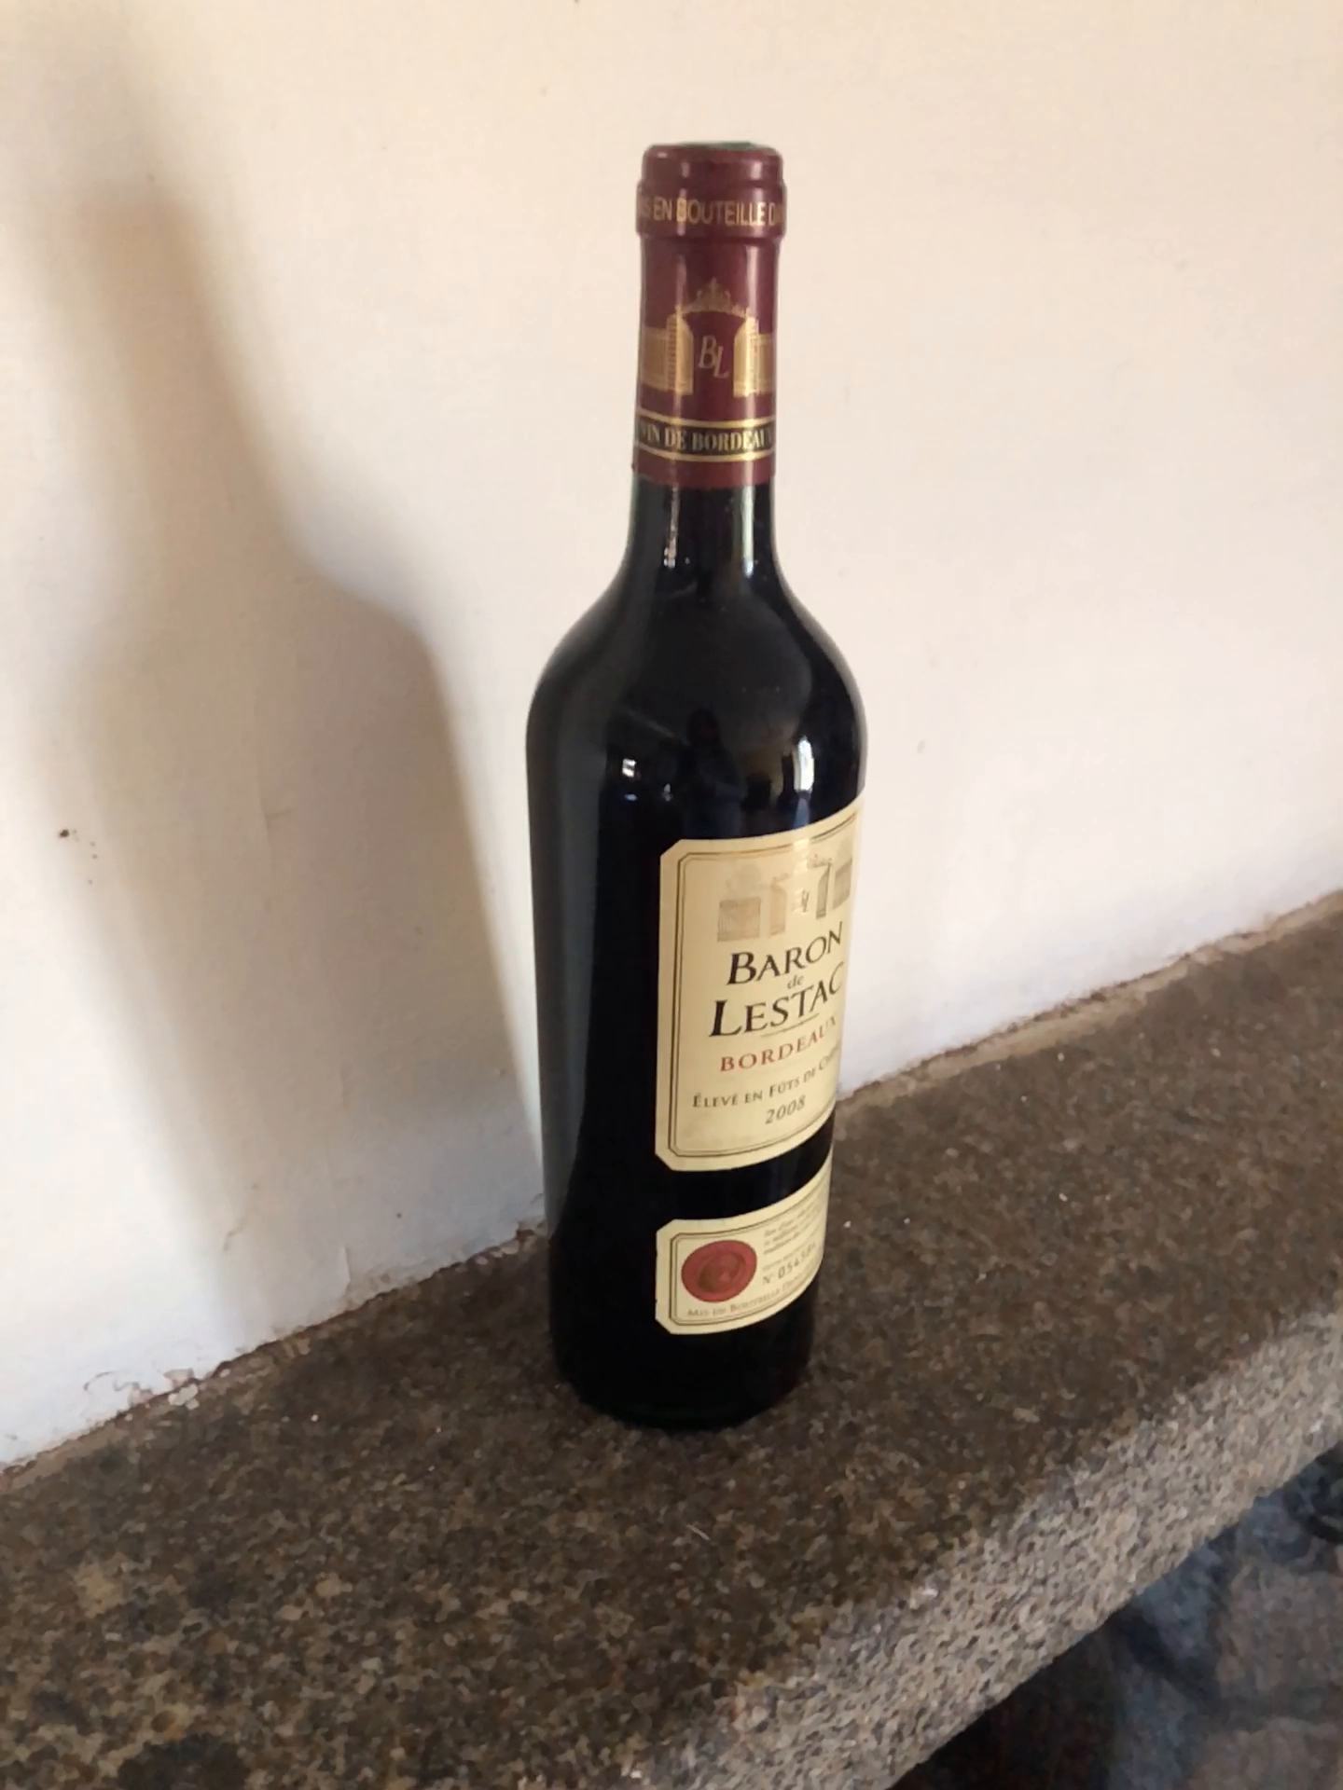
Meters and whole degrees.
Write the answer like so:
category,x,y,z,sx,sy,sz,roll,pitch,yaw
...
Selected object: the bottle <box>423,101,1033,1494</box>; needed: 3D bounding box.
category,x,y,z,sx,sy,sz,roll,pitch,yaw
bottle,0.009,-0.012,0.320,0.080,0.278,0.070,-16,31,-29
